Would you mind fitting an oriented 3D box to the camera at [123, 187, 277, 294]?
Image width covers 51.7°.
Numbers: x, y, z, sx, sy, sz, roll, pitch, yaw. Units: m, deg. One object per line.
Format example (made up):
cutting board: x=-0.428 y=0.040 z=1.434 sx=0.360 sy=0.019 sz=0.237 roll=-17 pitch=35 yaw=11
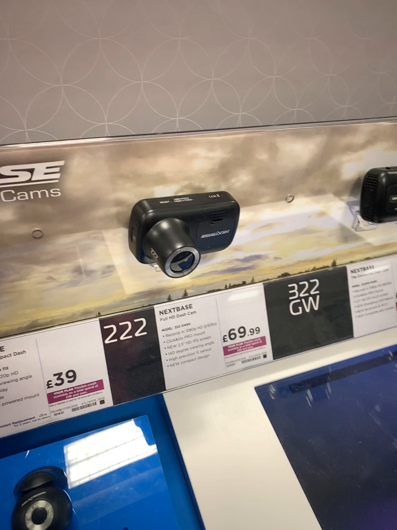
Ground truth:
camera: x=-0.001 y=-0.020 z=0.282 sx=0.090 sy=0.040 sz=0.050 roll=-10 pitch=41 yaw=-21
